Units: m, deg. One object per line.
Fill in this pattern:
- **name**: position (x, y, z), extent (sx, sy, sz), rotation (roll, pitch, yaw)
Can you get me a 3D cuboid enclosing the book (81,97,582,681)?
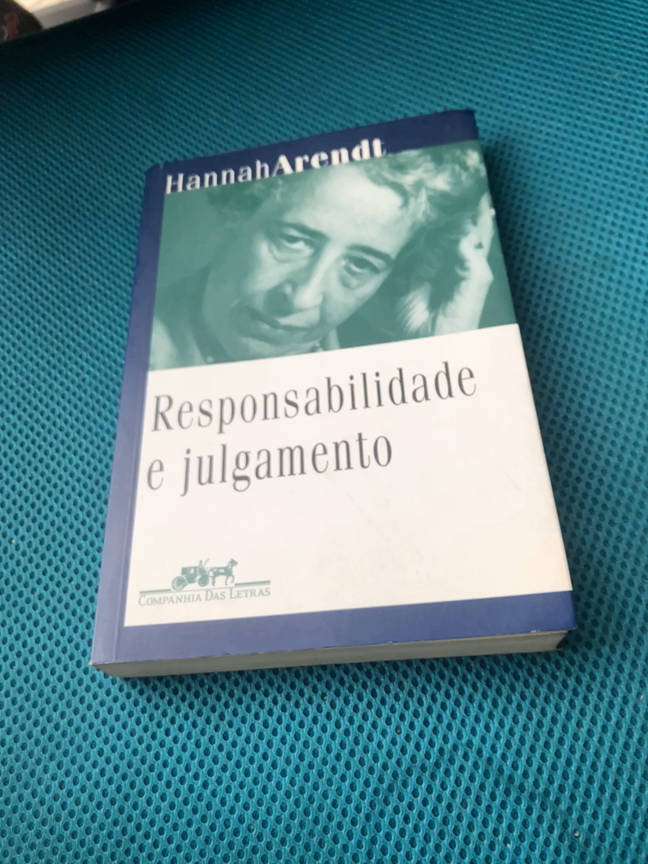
- **book**: position (-0.002, -0.025, 0.266), extent (0.141, 0.035, 0.209), rotation (-7, 61, 8)
